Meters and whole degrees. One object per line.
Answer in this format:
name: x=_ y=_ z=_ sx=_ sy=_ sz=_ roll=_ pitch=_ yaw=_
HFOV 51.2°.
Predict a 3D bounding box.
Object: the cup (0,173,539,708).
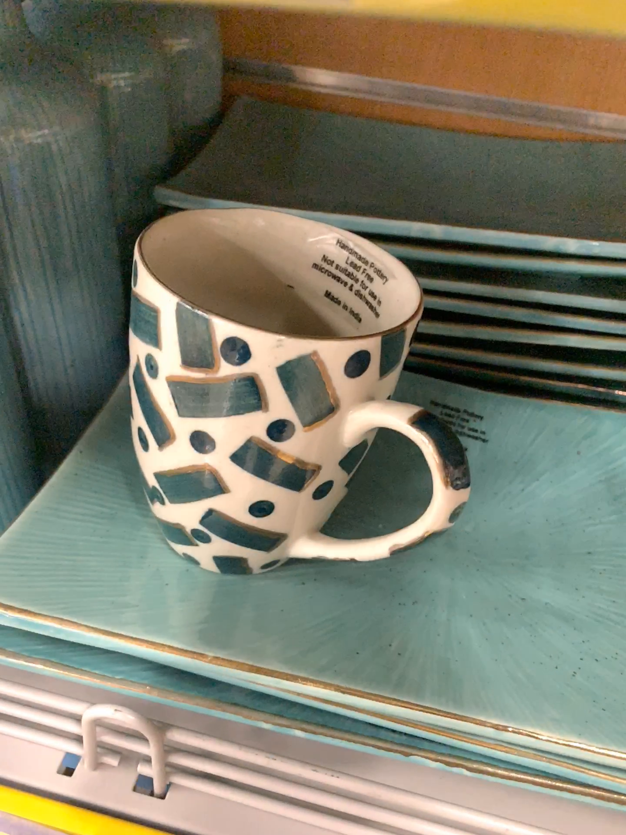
cup: x=-0.015 y=-0.003 z=0.181 sx=0.110 sy=0.080 sz=0.080 roll=28 pitch=37 yaw=17
